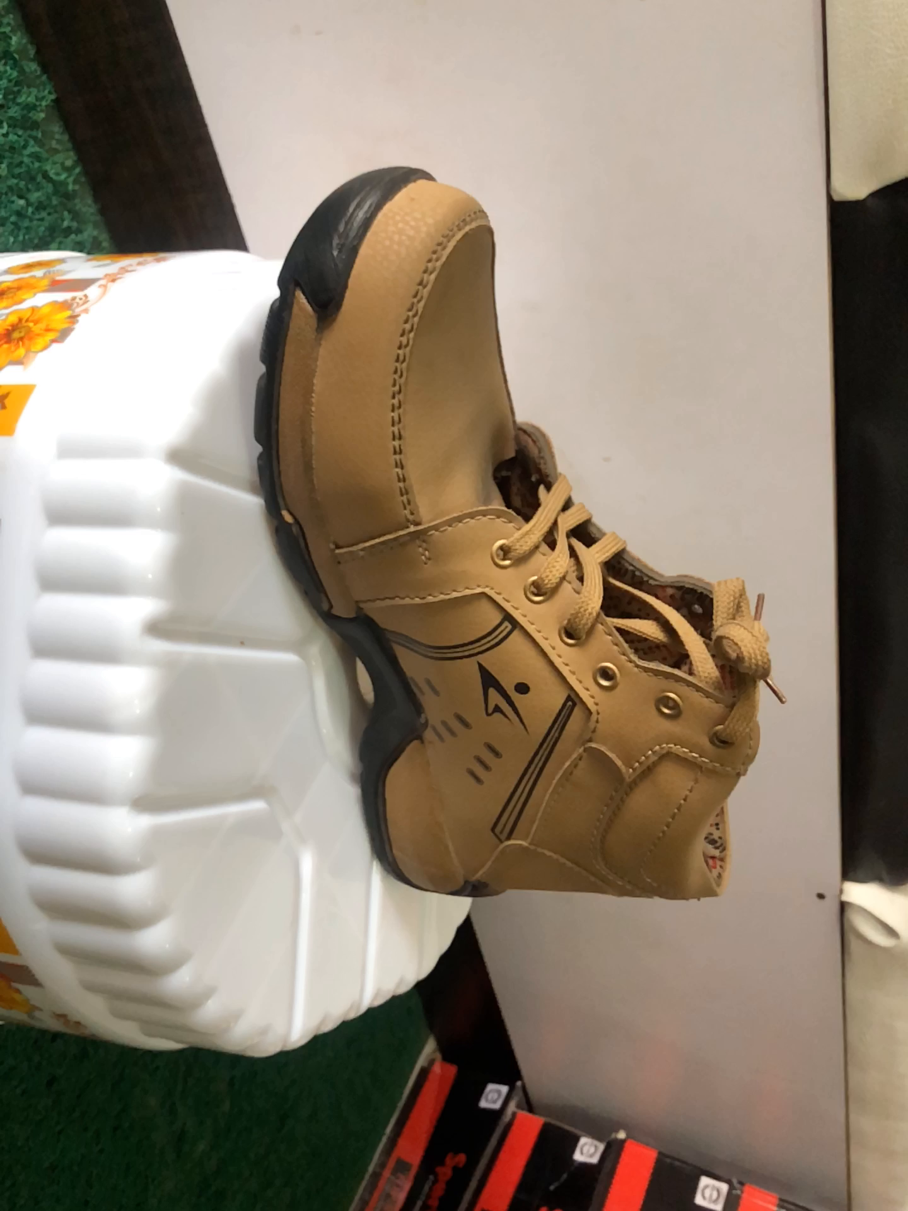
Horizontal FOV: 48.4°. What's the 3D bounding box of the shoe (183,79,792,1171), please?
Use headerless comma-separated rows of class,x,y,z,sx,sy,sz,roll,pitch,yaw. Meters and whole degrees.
shoe,0.040,0.008,0.328,0.141,0.109,0.301,-49,135,-52
